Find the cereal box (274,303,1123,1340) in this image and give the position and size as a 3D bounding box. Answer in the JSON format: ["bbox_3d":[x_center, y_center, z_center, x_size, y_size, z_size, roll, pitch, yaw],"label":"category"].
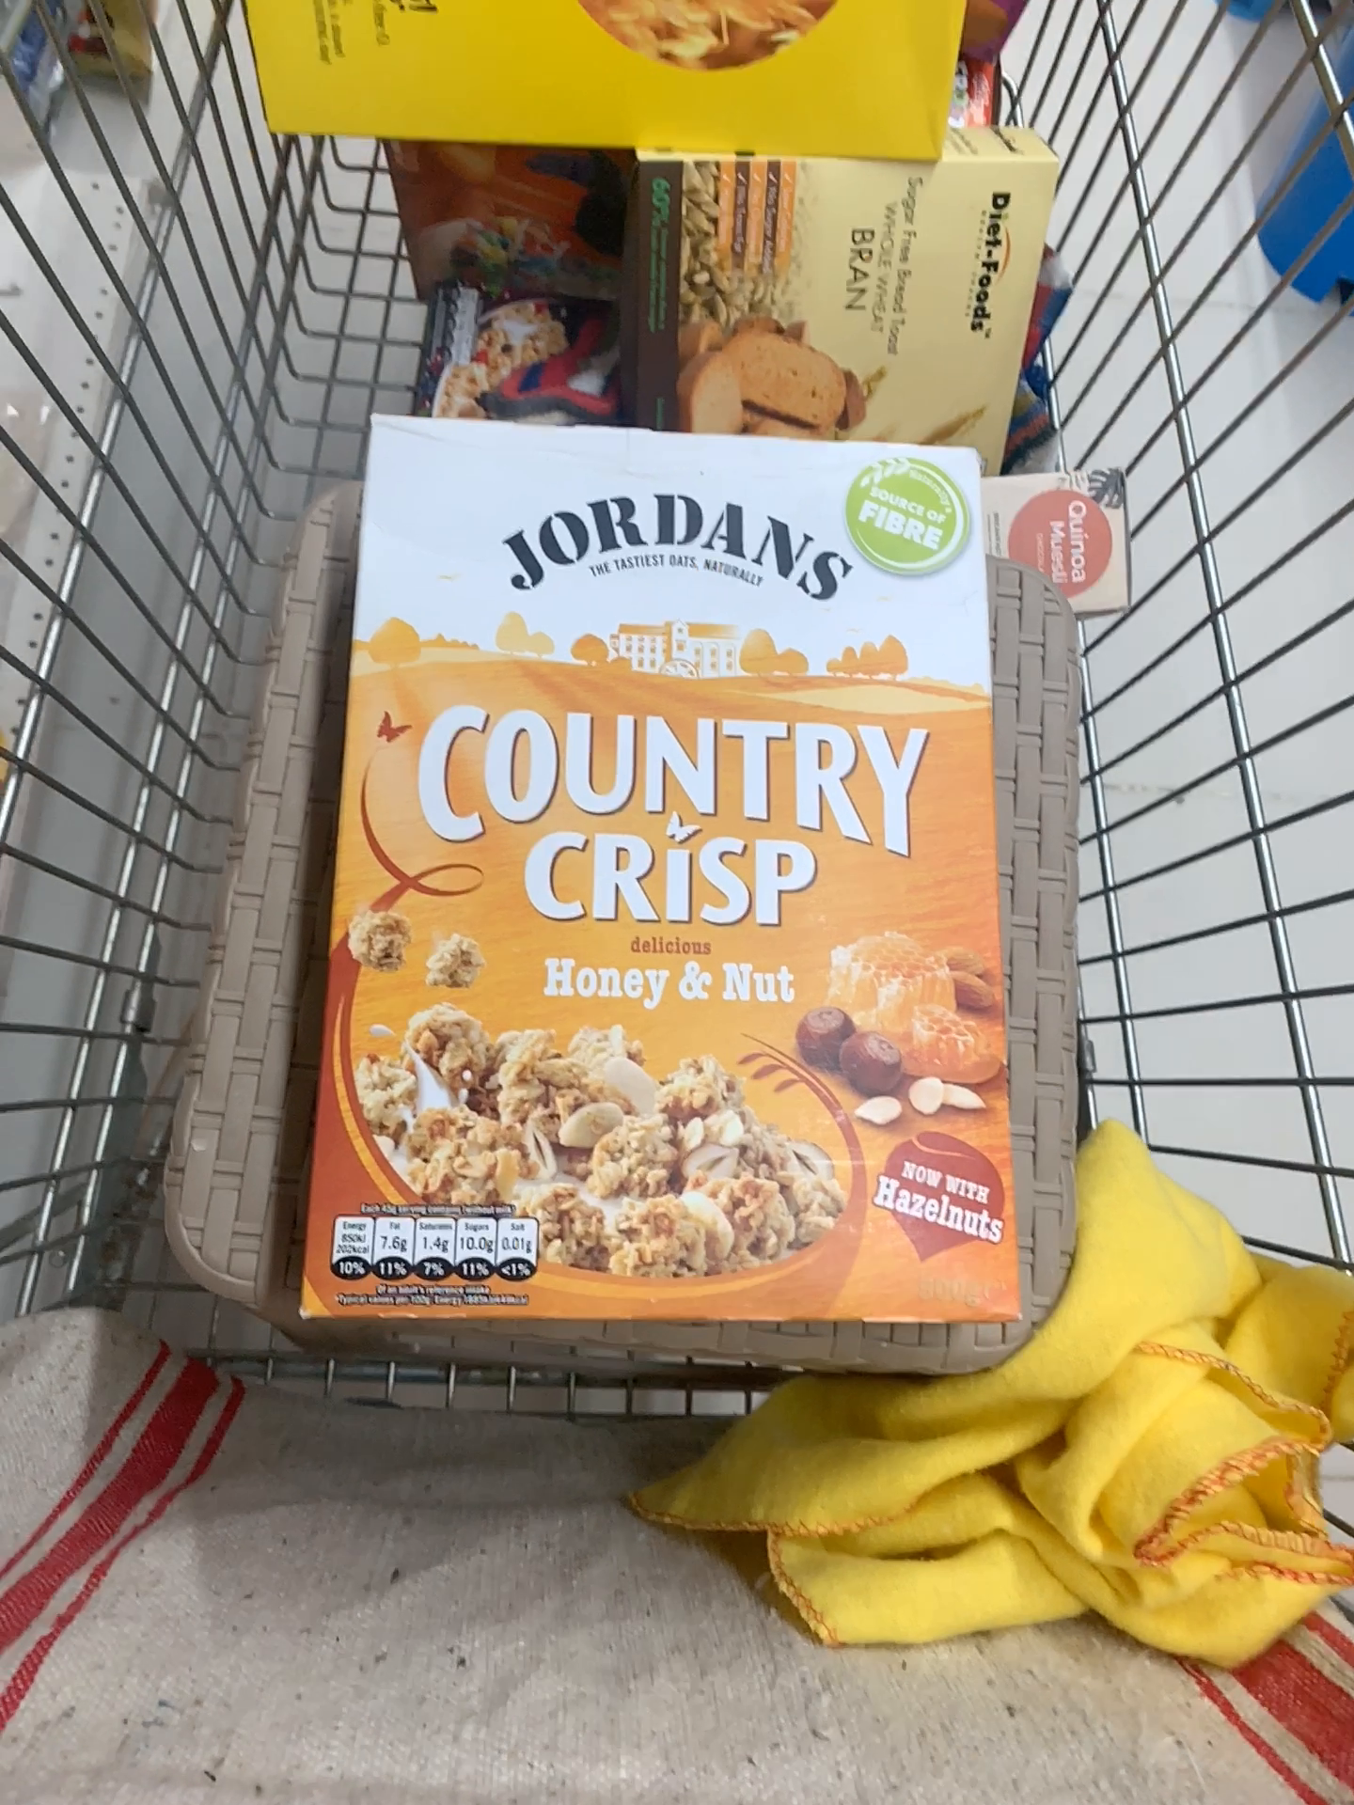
[{"bbox_3d":[0.007,-0.020,0.383,0.190,0.080,0.260,3,74,-5],"label":"cereal box"}]
